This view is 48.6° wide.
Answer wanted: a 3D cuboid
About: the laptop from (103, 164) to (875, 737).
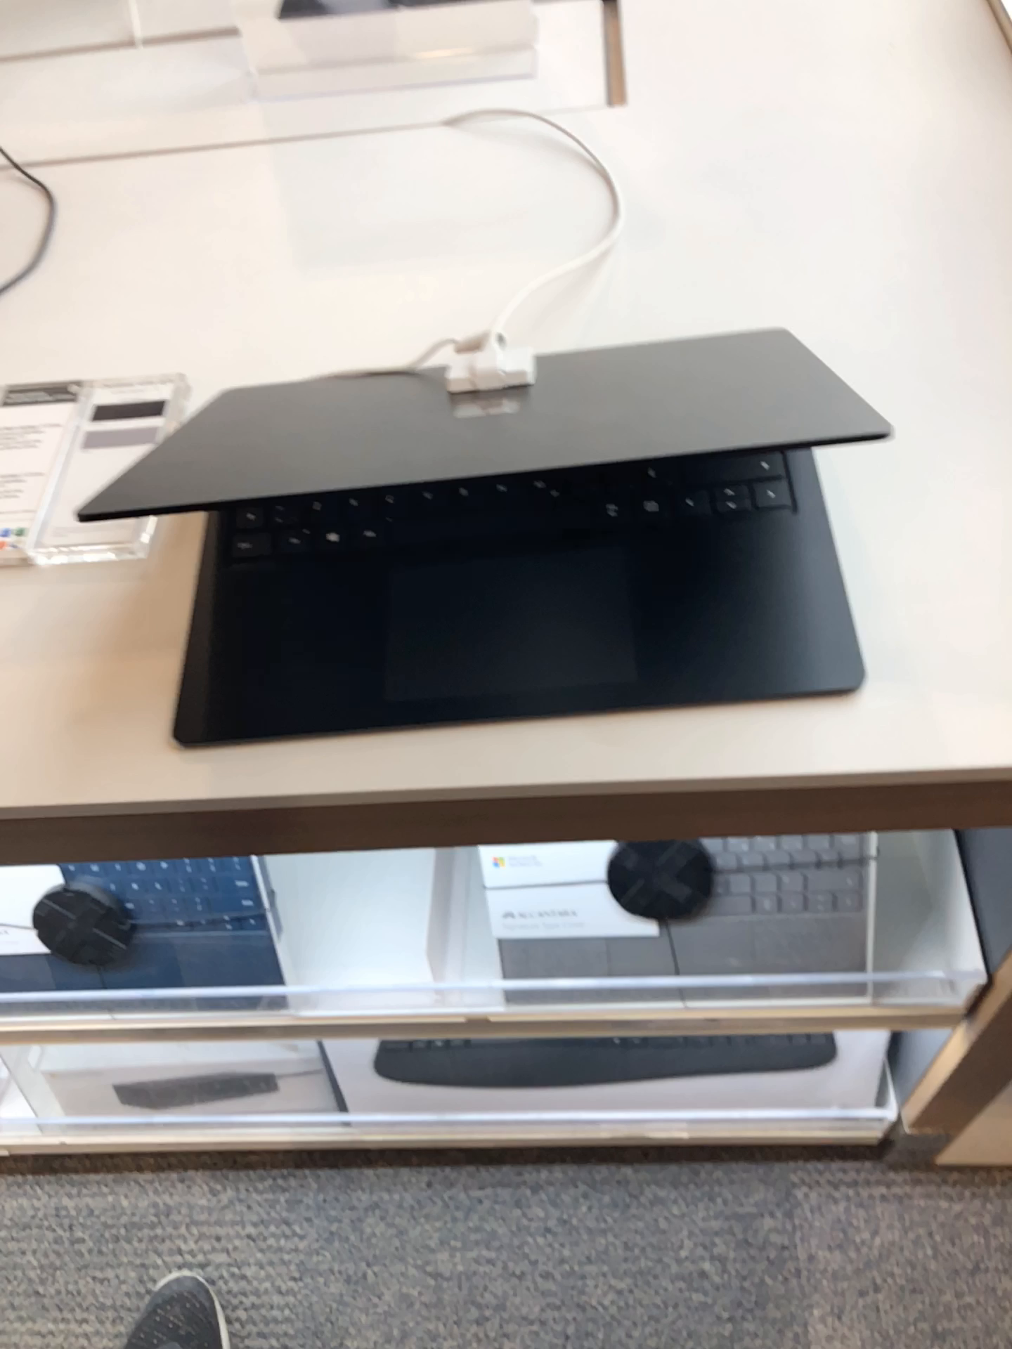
[{"bbox_3d":[-0.006,-0.096,0.486,0.284,0.086,0.191,-5,63,4],"label":"laptop"}]
